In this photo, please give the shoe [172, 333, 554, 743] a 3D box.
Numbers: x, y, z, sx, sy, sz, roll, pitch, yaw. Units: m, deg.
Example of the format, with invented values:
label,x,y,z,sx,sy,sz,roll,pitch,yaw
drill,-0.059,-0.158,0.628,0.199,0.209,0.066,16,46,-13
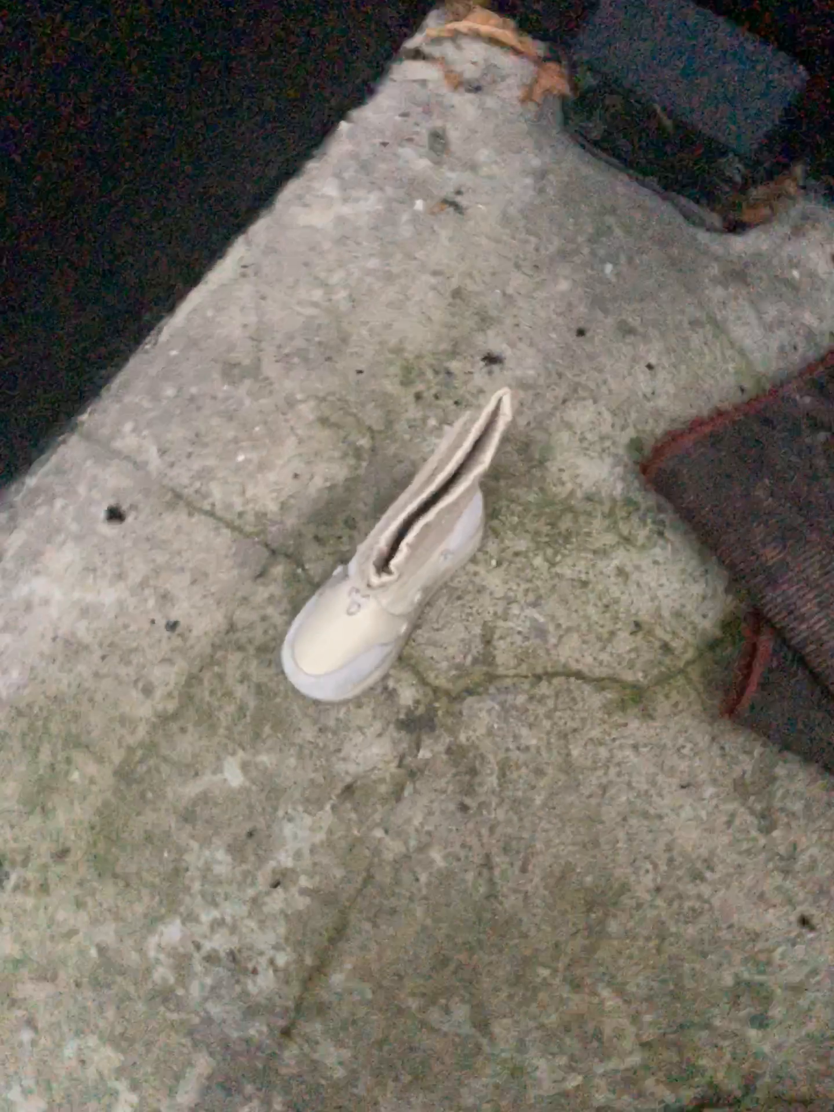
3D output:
label,x,y,z,sx,sy,sz,roll,pitch,yaw
shoe,-0.029,0.011,0.740,0.120,0.309,0.270,39,79,12
